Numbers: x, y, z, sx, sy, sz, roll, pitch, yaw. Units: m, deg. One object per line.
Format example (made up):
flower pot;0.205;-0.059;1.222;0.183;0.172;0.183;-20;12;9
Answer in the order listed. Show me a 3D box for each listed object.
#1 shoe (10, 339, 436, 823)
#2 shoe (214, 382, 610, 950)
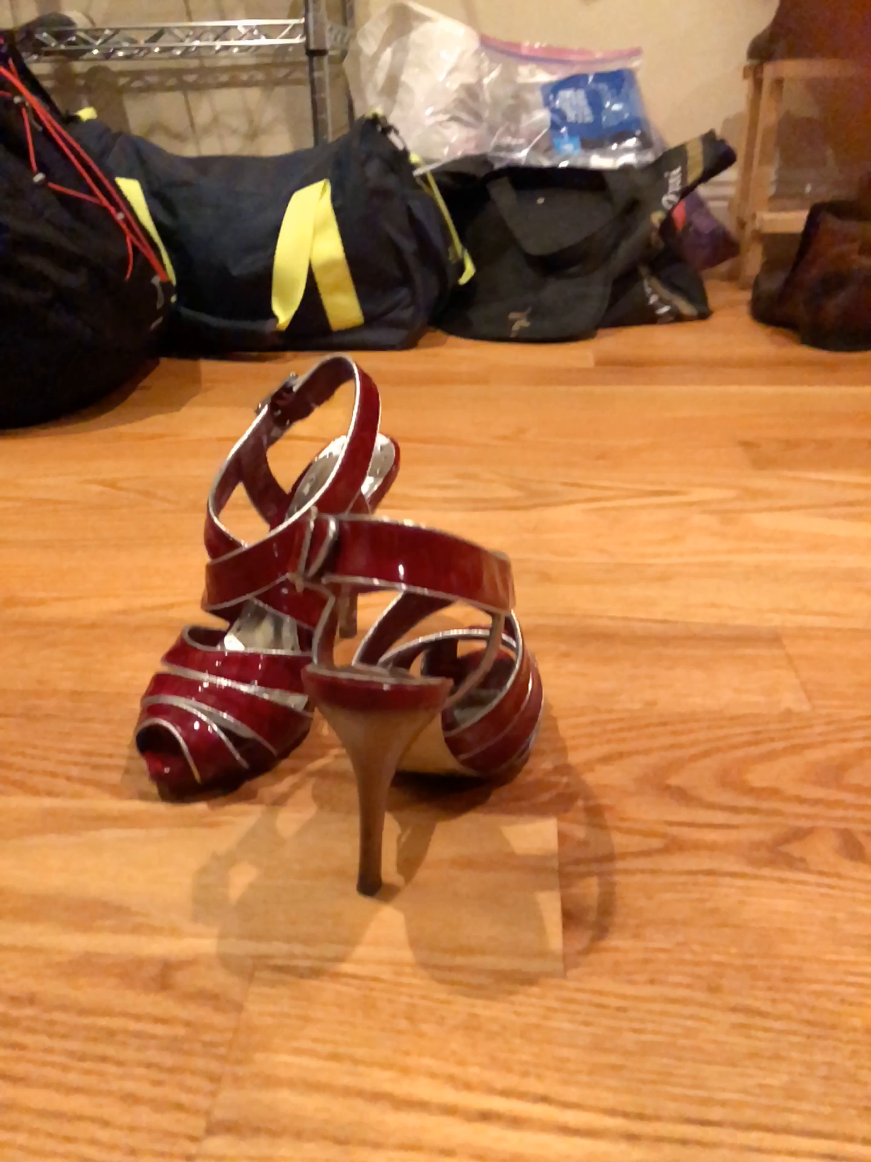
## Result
shoe;-0.080;-0.016;0.461;0.091;0.151;0.199;9;28;19
shoe;0.007;0.016;0.392;0.091;0.141;0.194;7;28;16
